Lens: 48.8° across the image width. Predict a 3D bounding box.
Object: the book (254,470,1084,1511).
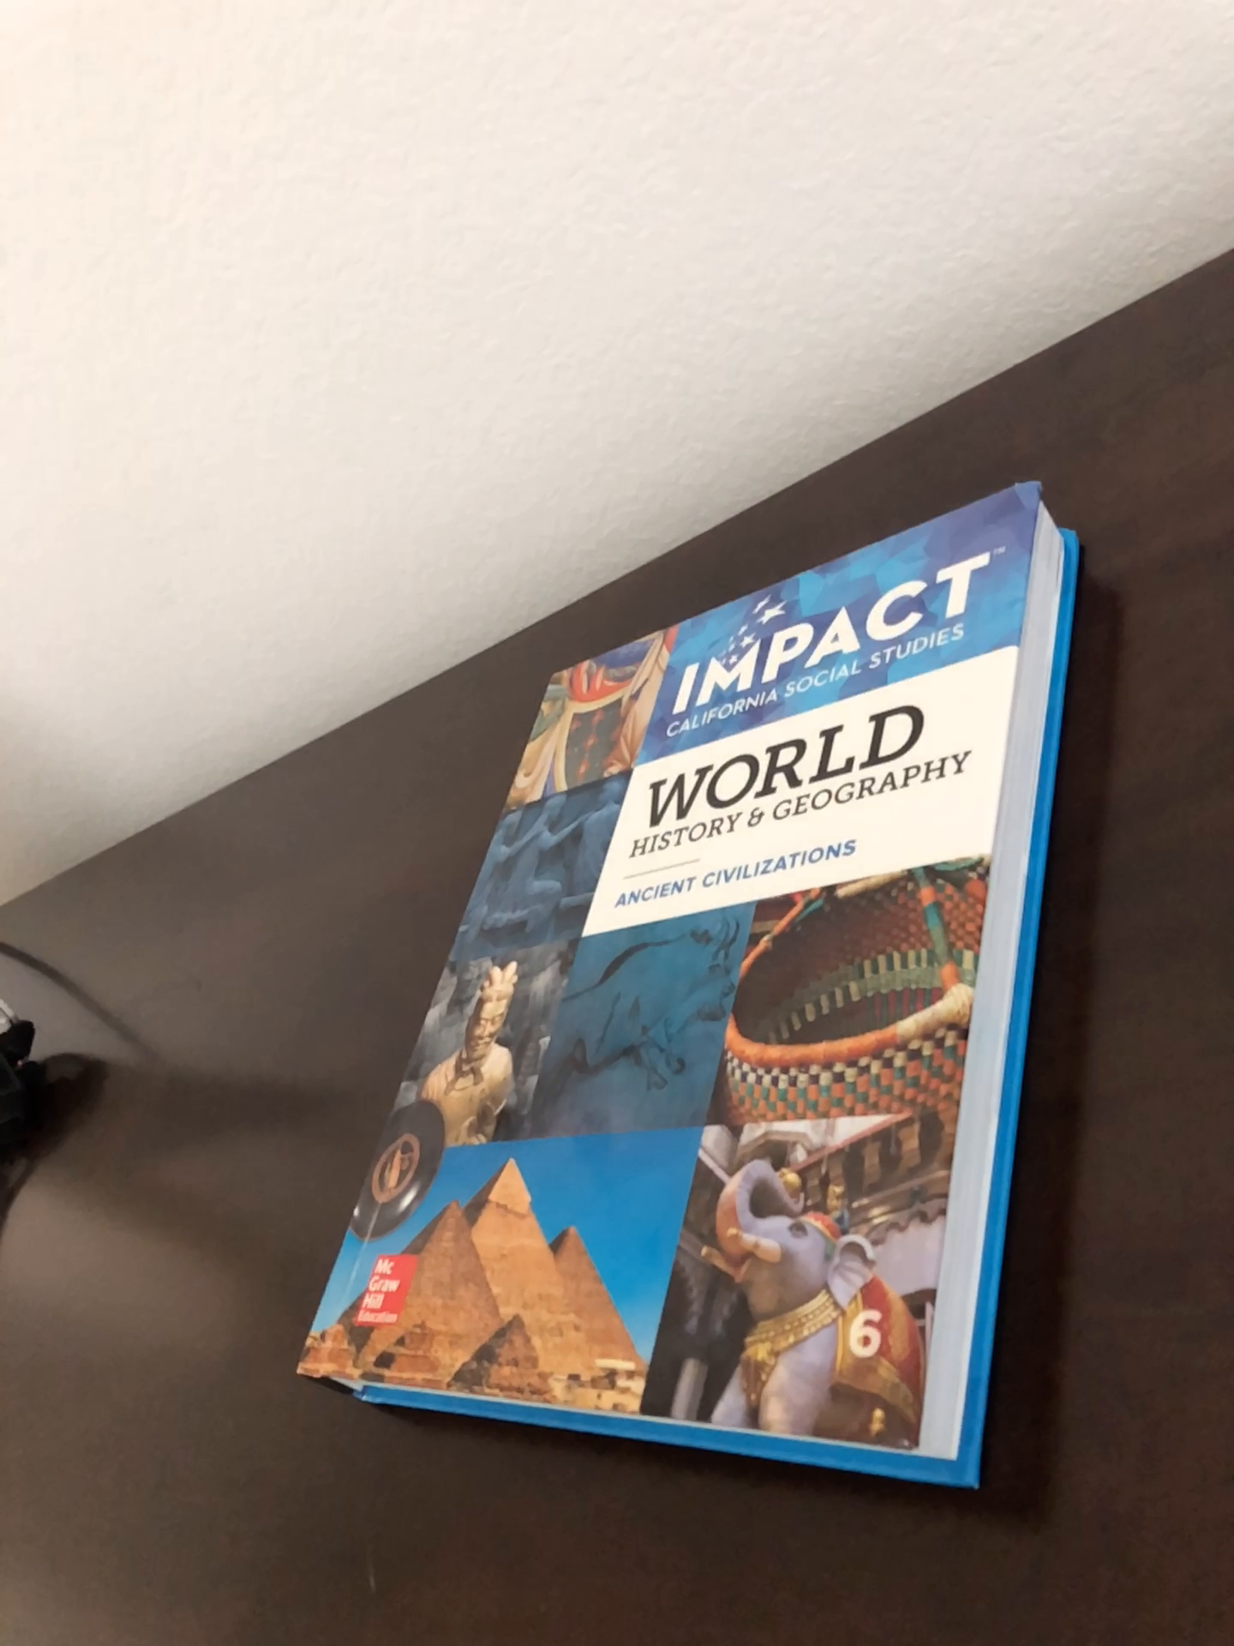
[{"bbox_3d":[0.018,0.039,0.420,0.227,0.030,0.285,-15,45,42],"label":"book"}]
